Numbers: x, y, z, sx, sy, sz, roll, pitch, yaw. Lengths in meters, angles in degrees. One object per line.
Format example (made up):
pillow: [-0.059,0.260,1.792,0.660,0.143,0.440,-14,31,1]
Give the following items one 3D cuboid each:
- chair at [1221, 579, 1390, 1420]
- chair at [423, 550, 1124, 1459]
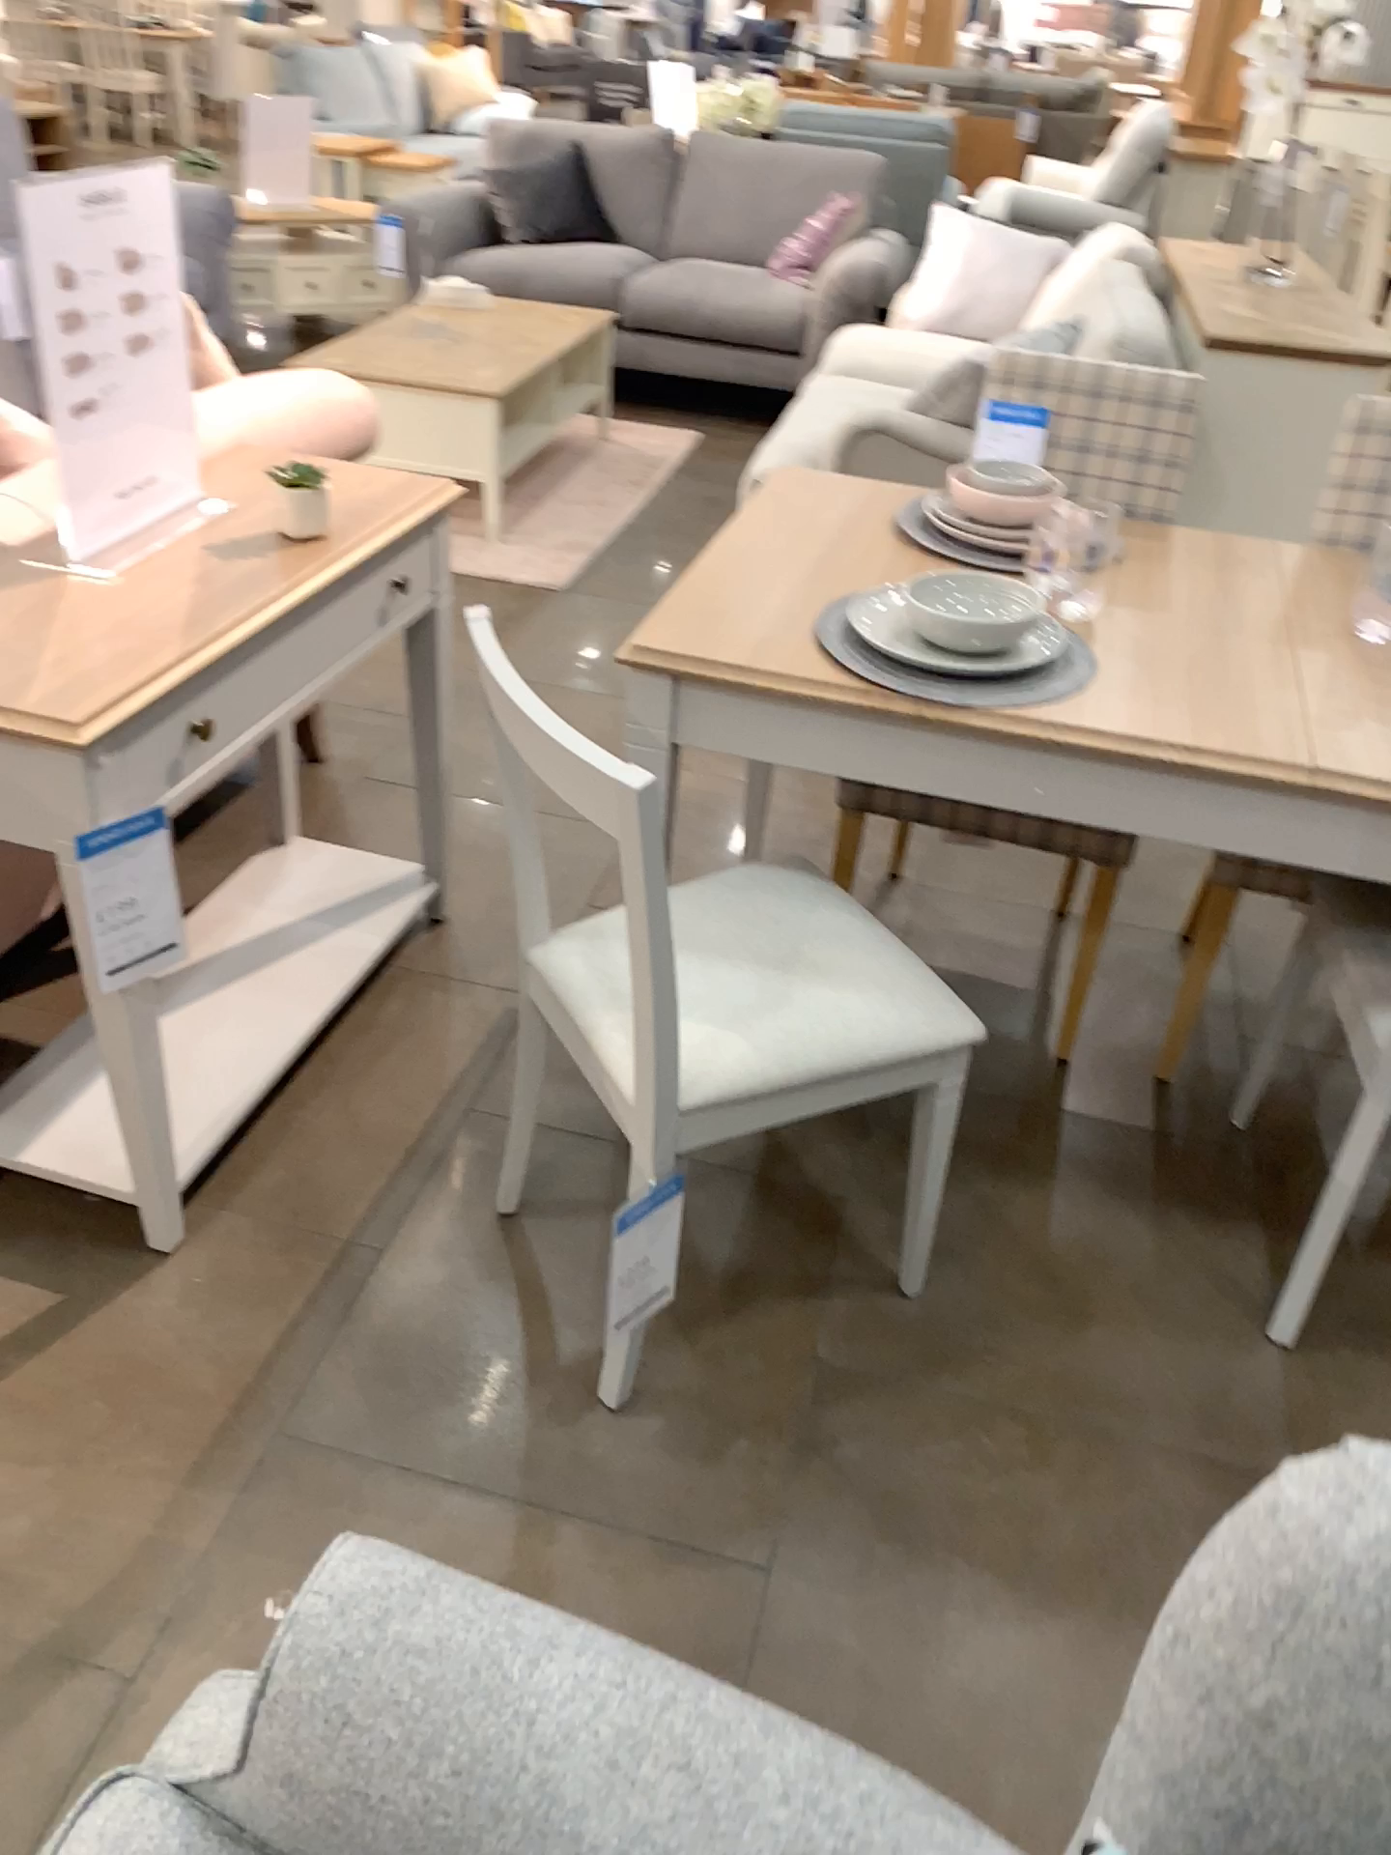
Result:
chair: [1.013,0.081,1.759,0.430,0.817,0.539,11,34,8]
chair: [0.035,0.069,1.619,0.535,0.817,0.464,-14,38,-26]
